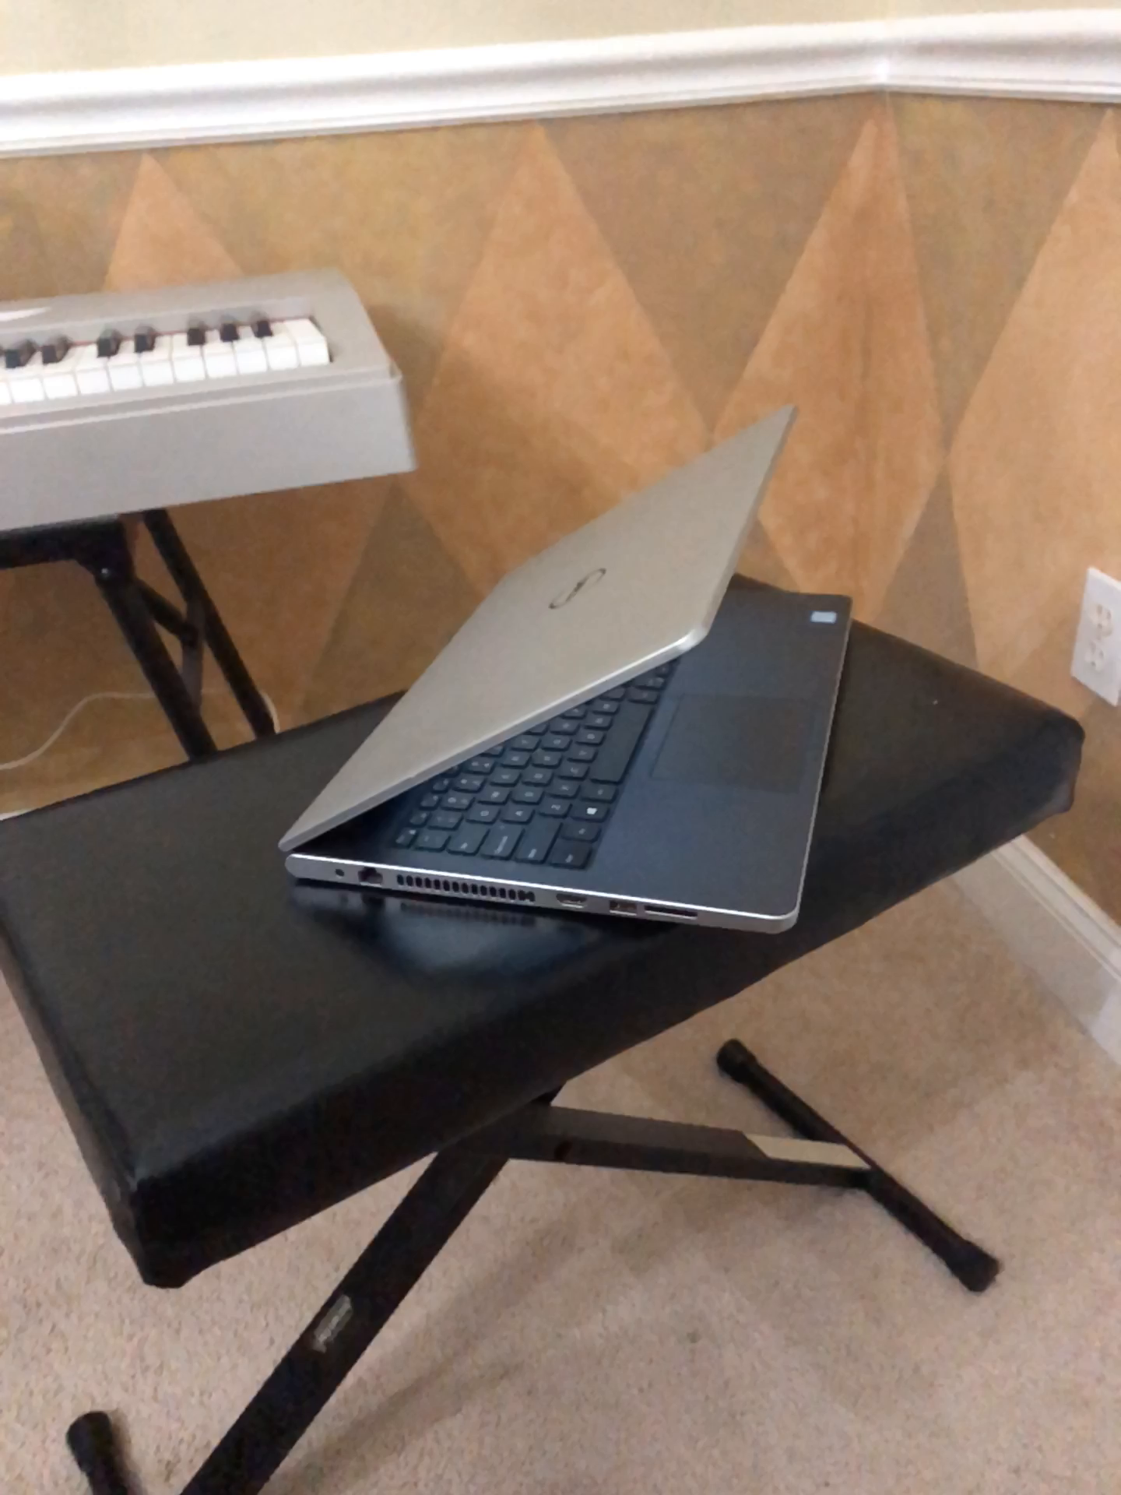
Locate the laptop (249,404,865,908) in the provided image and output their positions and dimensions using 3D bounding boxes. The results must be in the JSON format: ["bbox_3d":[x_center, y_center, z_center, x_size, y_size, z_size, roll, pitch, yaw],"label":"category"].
[{"bbox_3d":[0.034,-0.086,0.736,0.256,0.132,0.378,6,31,14],"label":"laptop"}]
